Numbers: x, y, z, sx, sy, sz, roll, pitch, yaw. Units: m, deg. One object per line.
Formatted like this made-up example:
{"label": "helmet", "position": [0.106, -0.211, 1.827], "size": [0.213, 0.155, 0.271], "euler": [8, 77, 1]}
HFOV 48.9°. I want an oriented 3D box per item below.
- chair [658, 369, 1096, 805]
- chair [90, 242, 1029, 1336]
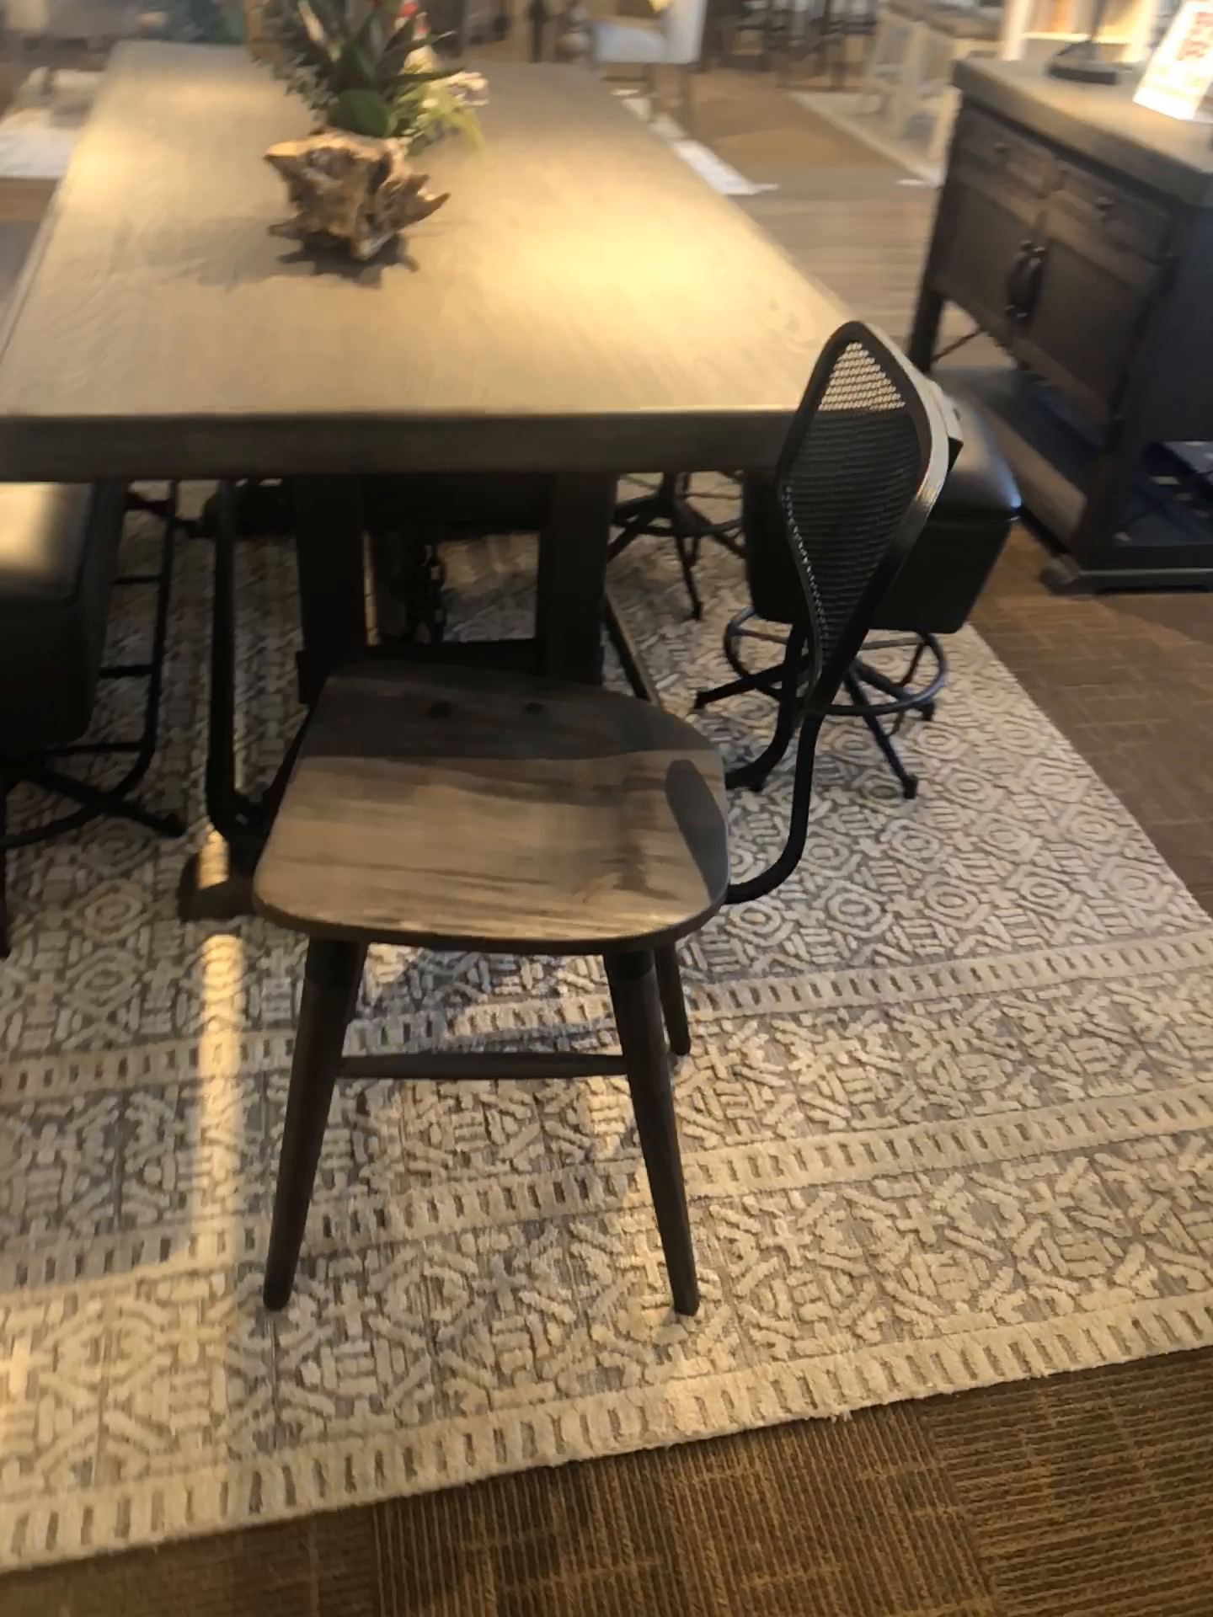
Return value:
{"label": "chair", "position": [0.403, -0.393, 2.287], "size": [0.519, 0.488, 0.637], "euler": [0, 37, -6]}
{"label": "chair", "position": [-0.054, 0.016, 1.342], "size": [0.604, 0.947, 0.509], "euler": [3, 37, -2]}
